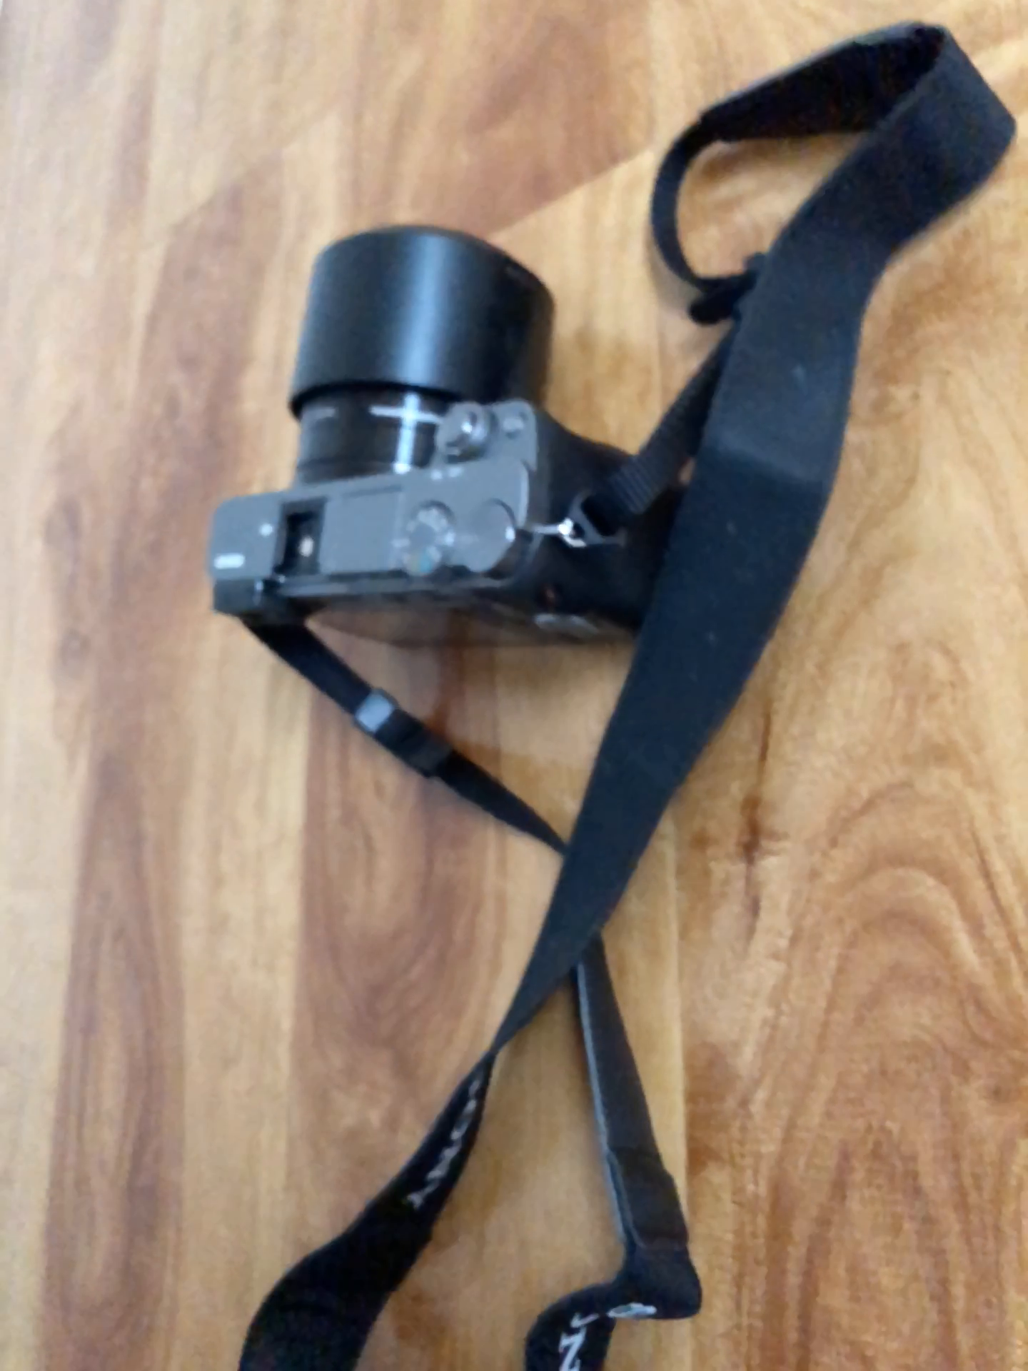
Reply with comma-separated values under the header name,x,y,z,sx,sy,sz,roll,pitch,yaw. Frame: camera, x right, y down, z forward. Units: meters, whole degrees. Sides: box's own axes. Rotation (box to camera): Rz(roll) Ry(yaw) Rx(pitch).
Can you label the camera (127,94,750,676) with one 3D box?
name,x,y,z,sx,sy,sz,roll,pitch,yaw
camera,-0.024,-0.066,0.316,0.141,0.080,0.110,2,80,44
